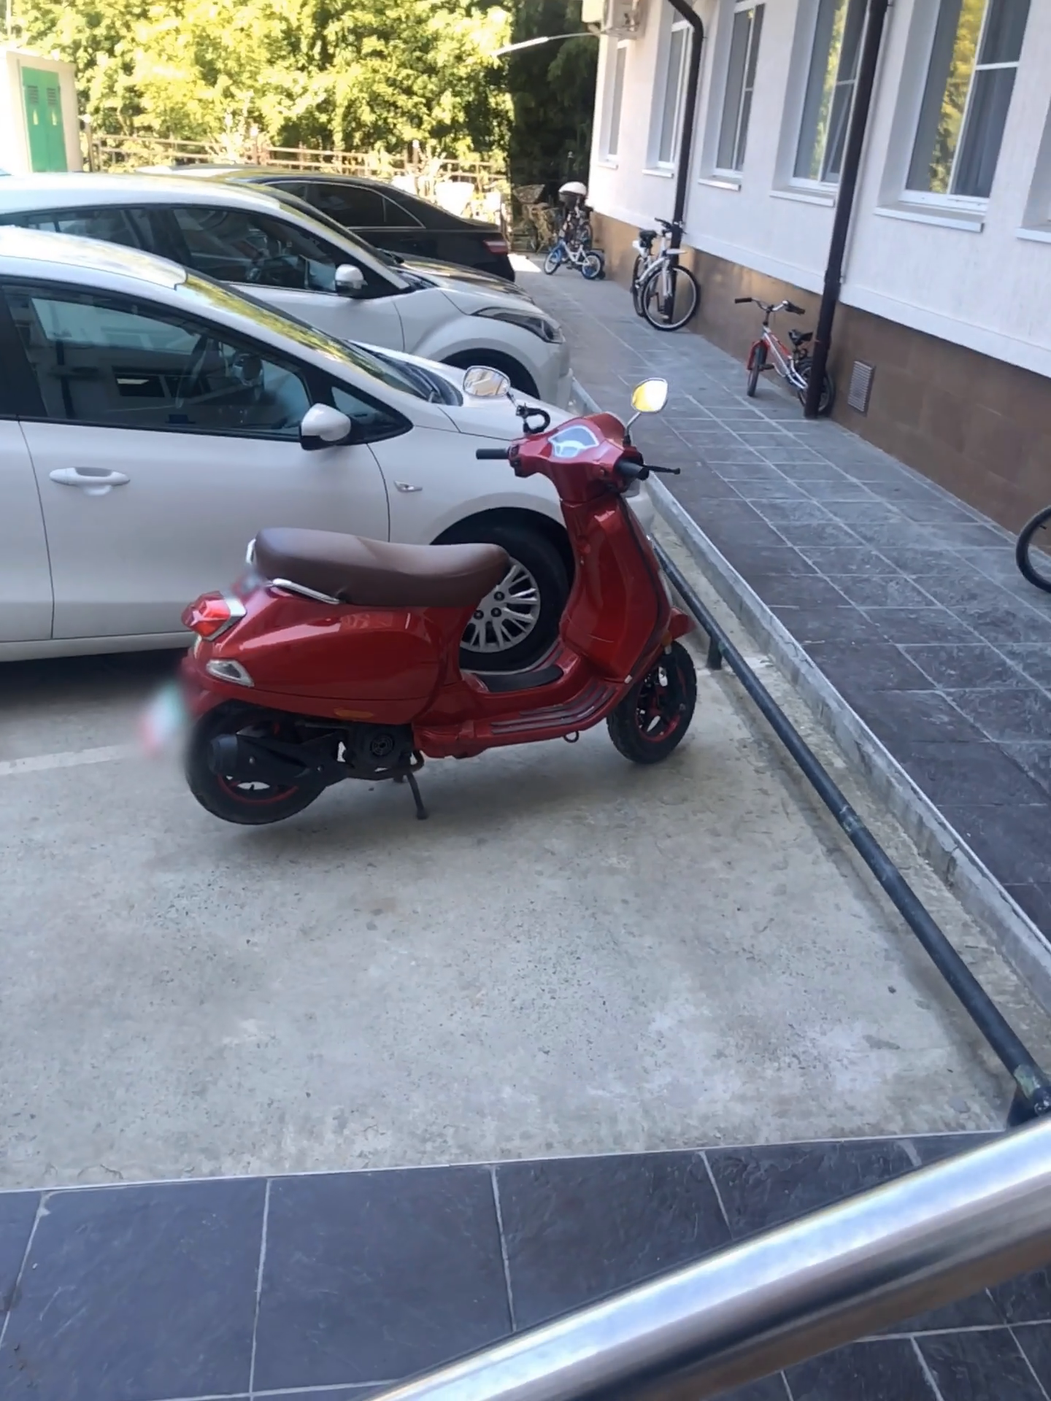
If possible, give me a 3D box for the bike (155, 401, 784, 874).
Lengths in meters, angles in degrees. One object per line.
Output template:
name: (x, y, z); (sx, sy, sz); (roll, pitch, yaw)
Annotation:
bike: (-0.142, -0.251, 3.215); (1.594, 0.951, 0.536); (-10, 29, -26)
